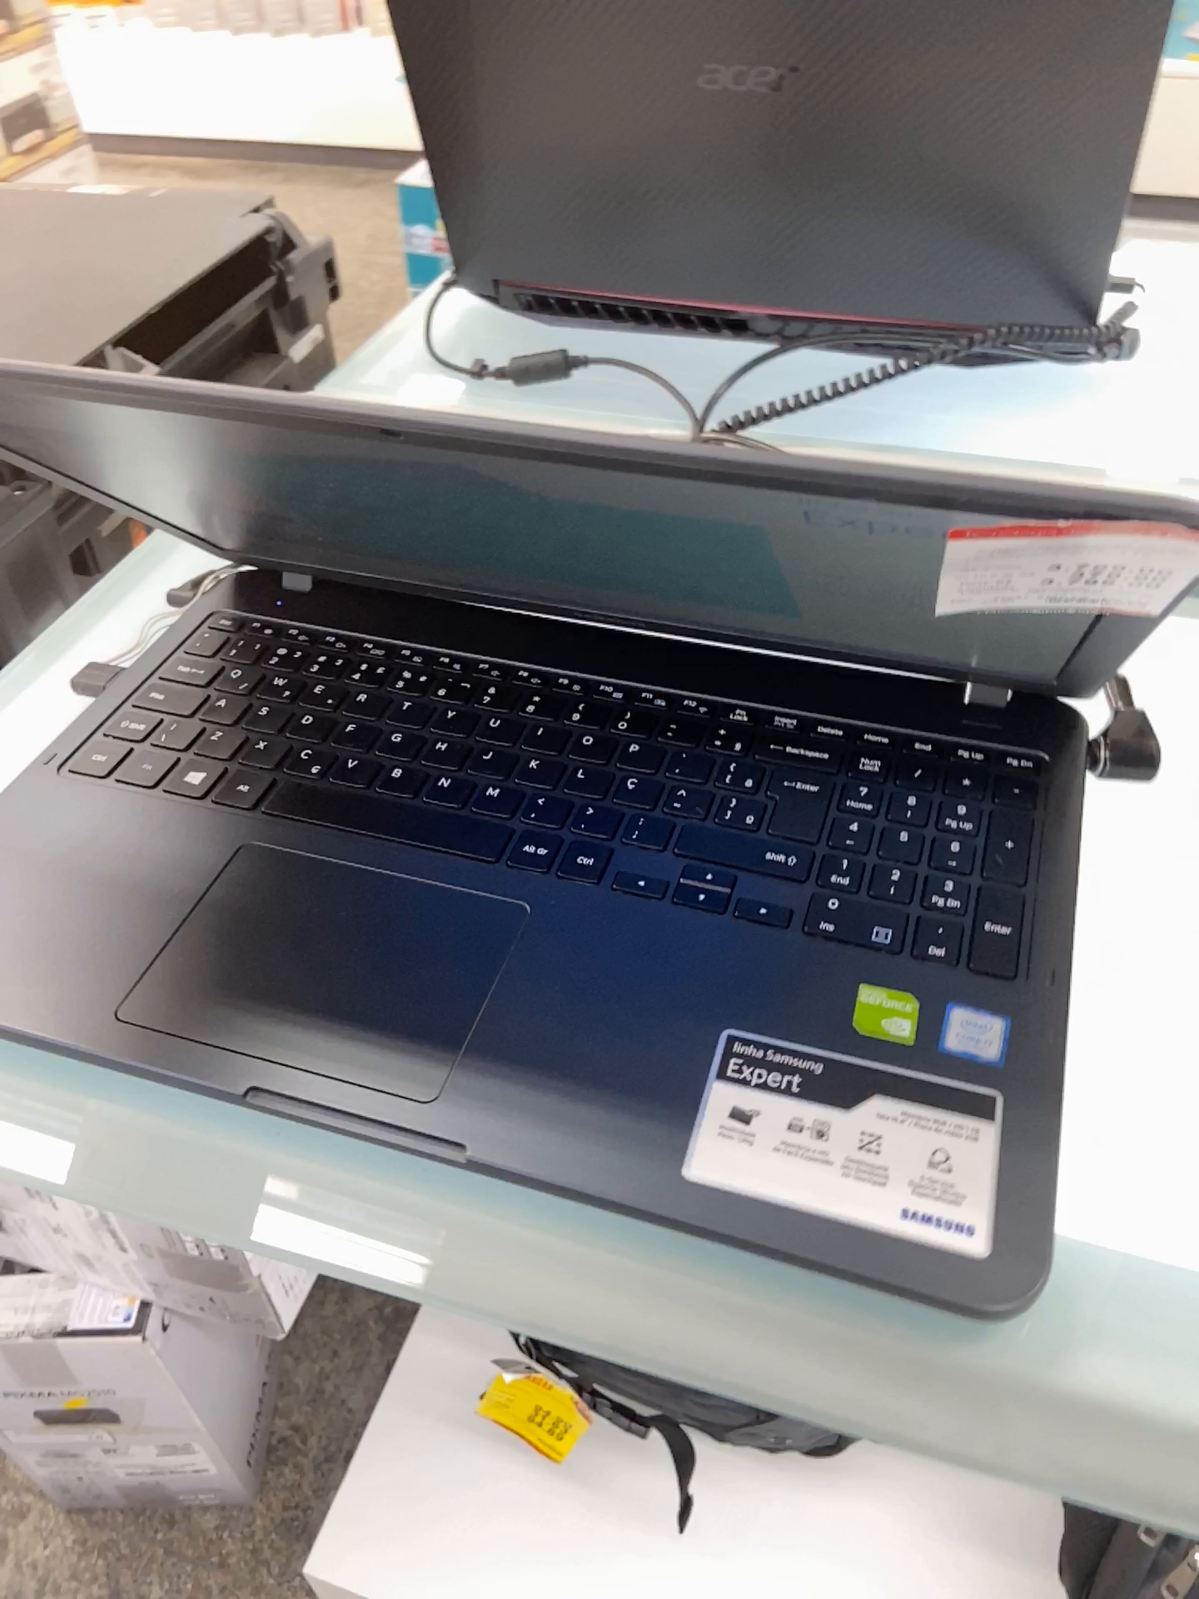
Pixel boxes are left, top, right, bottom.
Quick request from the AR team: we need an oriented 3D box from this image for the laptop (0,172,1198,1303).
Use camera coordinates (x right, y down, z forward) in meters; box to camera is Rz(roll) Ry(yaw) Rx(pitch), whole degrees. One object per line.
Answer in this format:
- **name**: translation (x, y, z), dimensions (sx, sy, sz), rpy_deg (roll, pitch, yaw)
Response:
- **laptop**: translation (-0.037, -0.053, 0.376), dimensions (0.371, 0.170, 0.238), rpy_deg (11, 44, 16)
